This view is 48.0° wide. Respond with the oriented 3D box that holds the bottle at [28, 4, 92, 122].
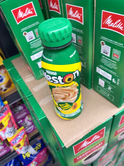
[{"bbox_3d":[0.012,-0.019,0.226,0.060,0.179,0.060,-5,43,5],"label":"bottle"}]
